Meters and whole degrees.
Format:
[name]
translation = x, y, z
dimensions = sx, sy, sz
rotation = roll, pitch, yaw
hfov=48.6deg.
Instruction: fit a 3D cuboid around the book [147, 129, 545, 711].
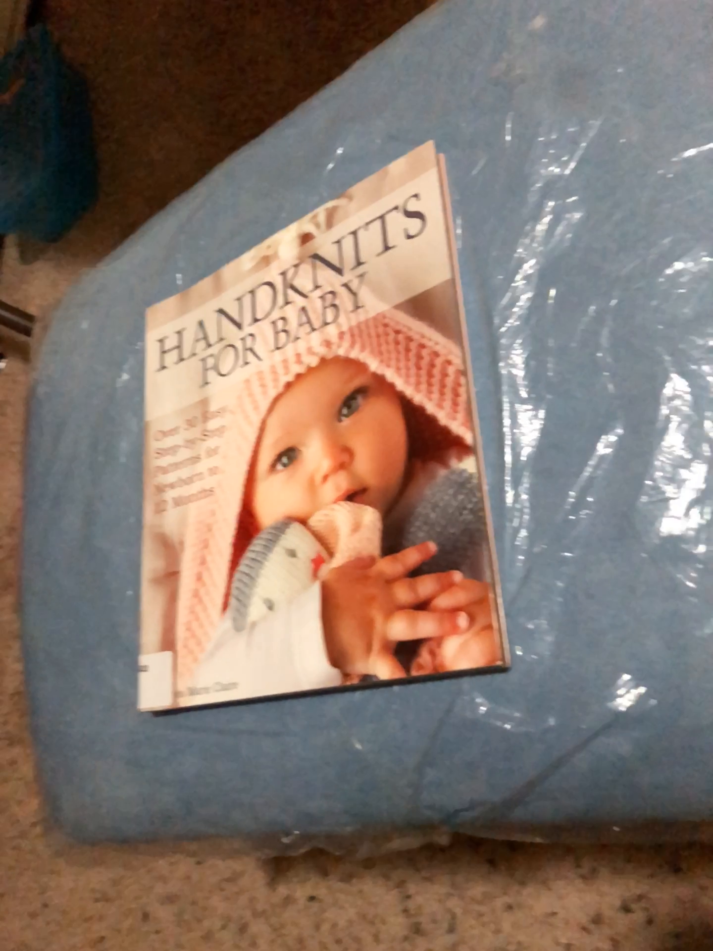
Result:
[book]
translation = -0.025, -0.015, 0.361
dimensions = 0.198, 0.020, 0.220
rotation = -18, 67, 35
